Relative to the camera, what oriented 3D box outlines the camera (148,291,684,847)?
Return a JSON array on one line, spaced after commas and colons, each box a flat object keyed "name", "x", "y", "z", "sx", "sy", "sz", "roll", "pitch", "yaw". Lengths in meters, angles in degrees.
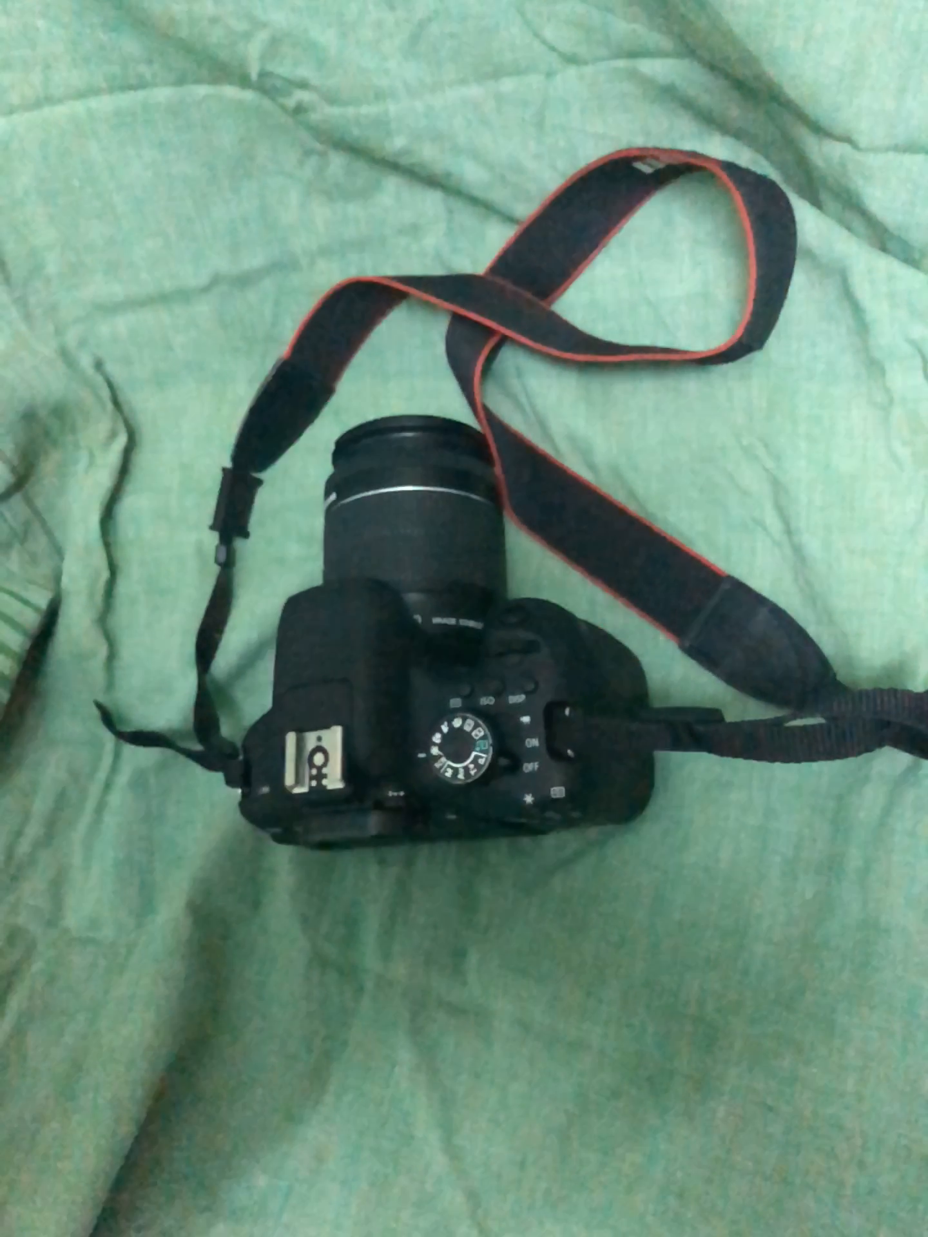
[{"name": "camera", "x": -0.015, "y": -0.003, "z": 0.347, "sx": 0.142, "sy": 0.100, "sz": 0.144, "roll": -10, "pitch": 74, "yaw": 21}]
